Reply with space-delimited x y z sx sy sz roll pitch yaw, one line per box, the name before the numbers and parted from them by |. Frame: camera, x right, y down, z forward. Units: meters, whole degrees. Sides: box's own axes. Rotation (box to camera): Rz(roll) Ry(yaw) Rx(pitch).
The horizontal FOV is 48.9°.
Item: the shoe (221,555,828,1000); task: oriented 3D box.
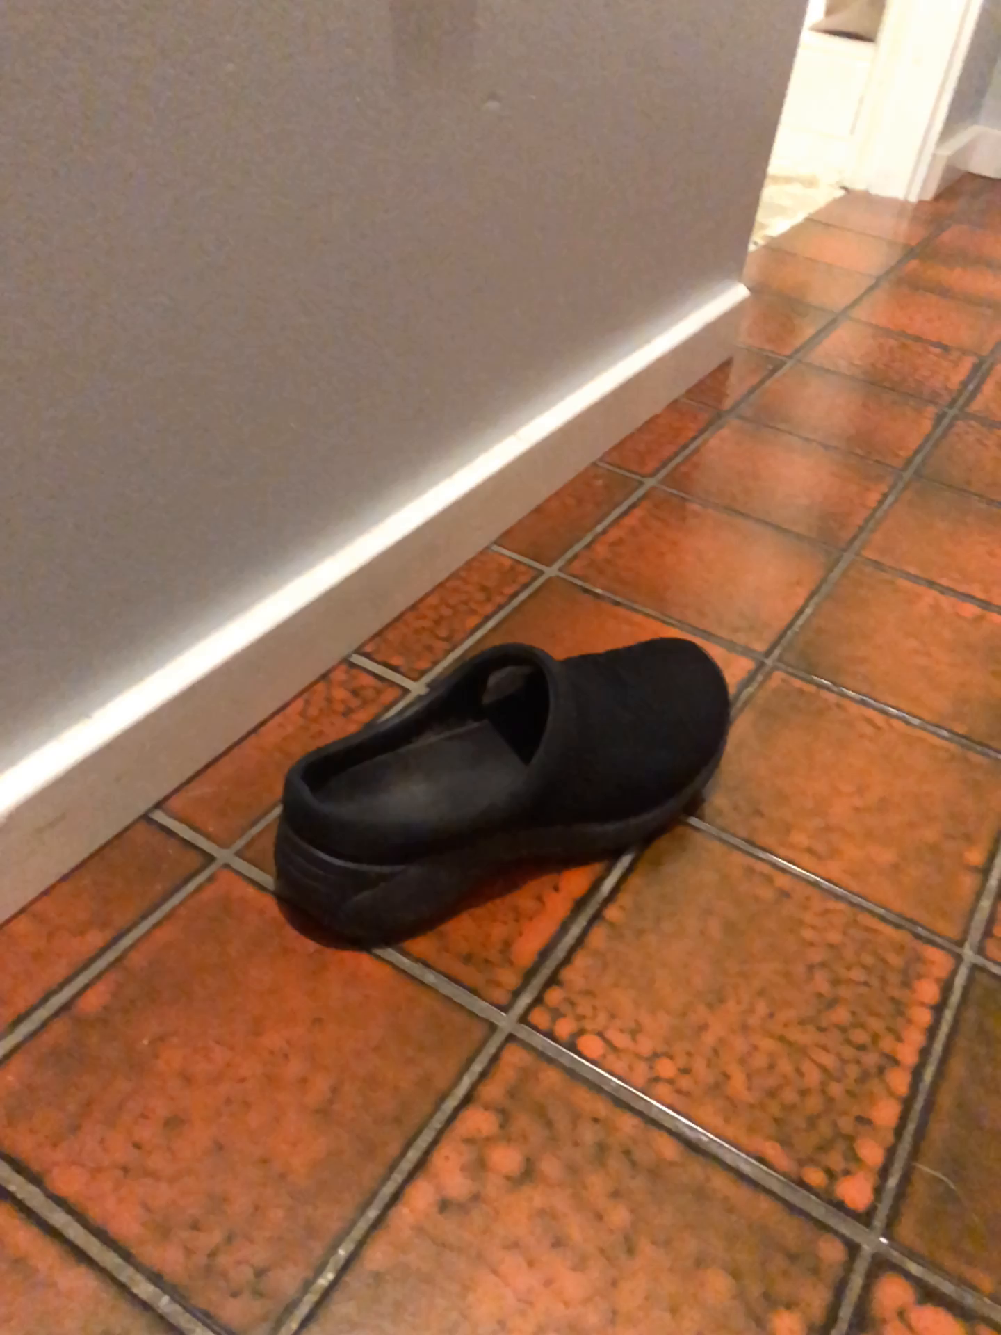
shoe | 0.015 0.036 0.497 0.250 0.080 0.100 -18 45 -30
